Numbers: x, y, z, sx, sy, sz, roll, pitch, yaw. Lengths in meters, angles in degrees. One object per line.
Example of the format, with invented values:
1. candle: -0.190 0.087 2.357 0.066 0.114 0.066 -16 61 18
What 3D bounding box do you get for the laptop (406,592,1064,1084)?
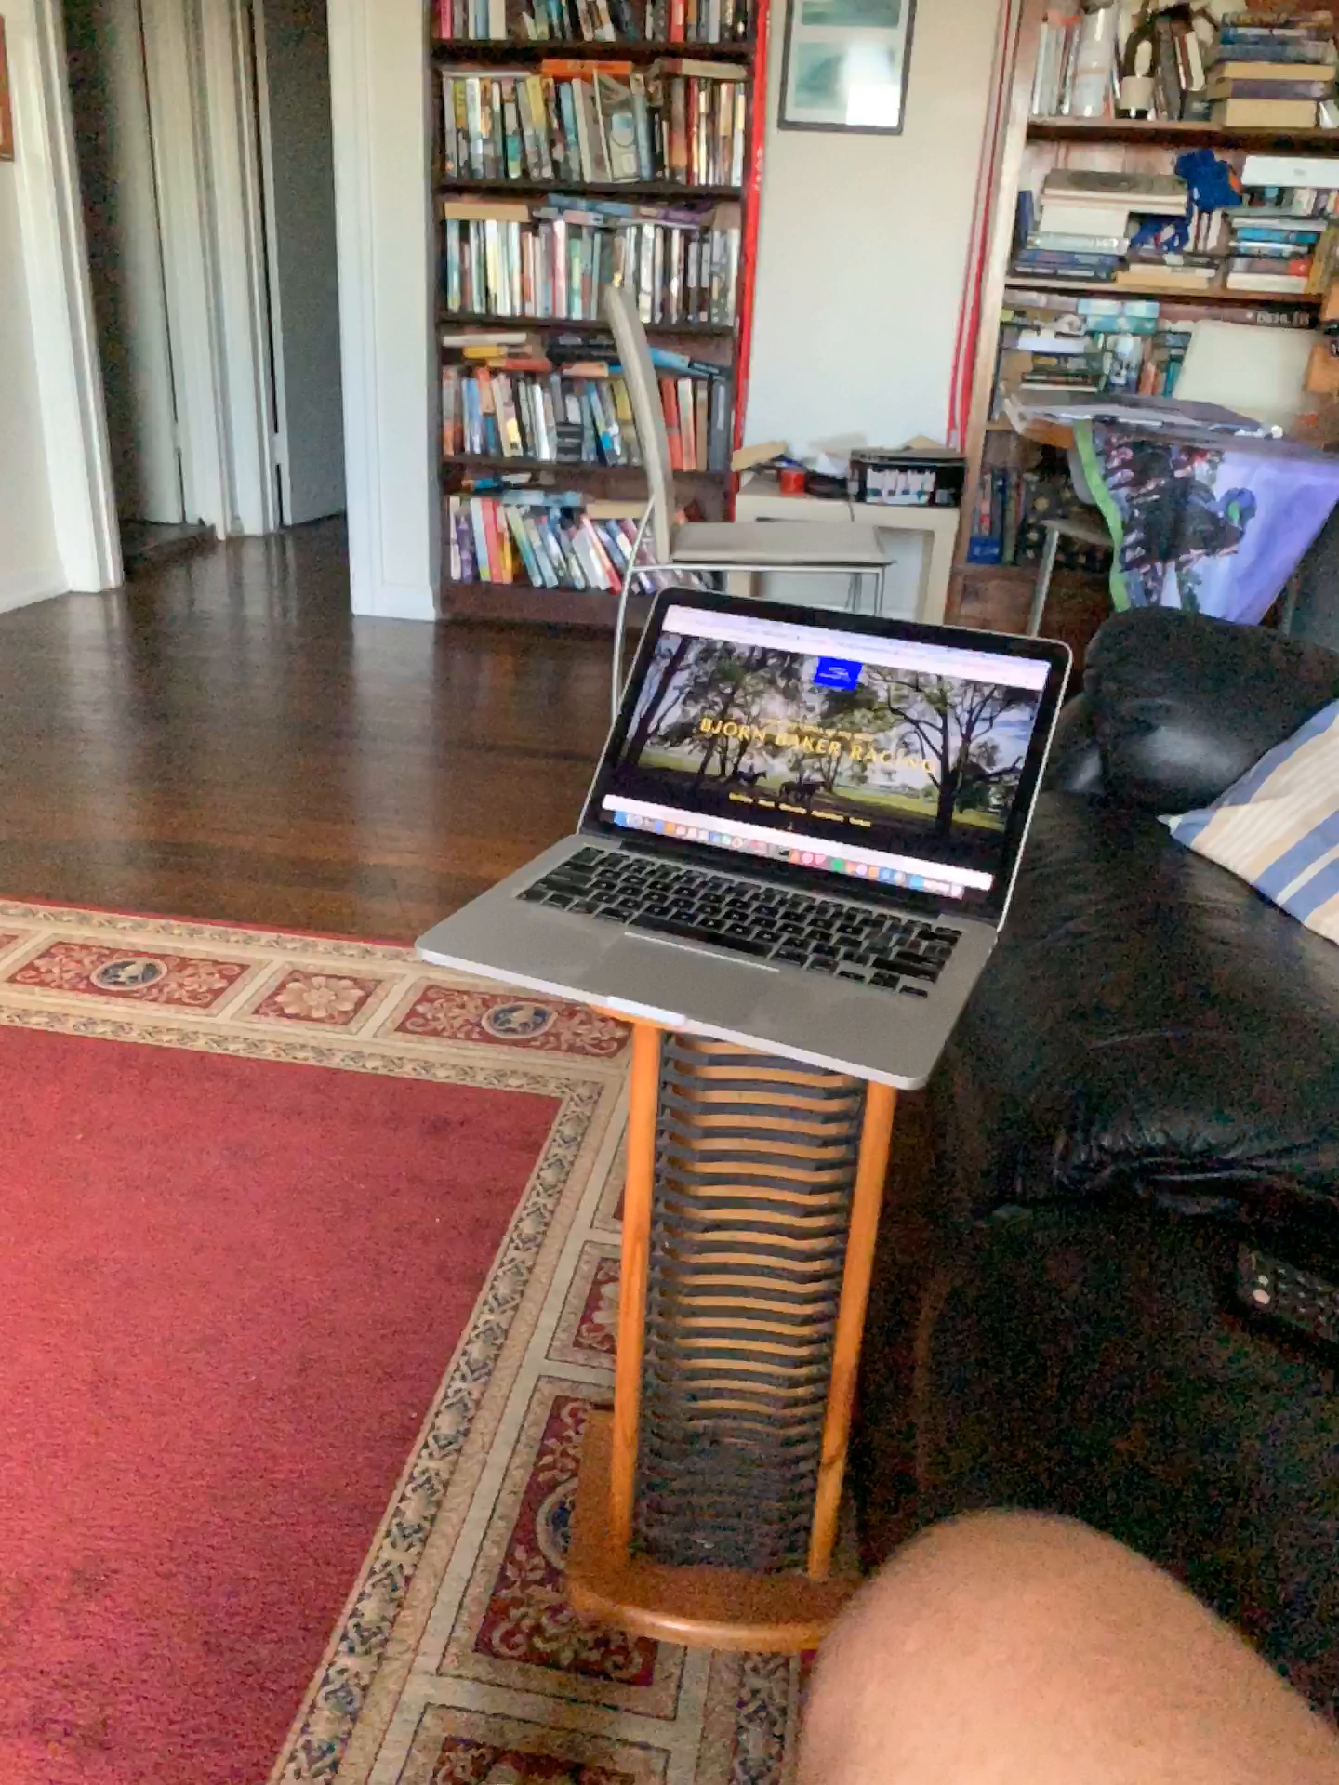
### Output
1. laptop: 0.058 -0.066 0.880 0.312 0.161 0.341 13 24 21
